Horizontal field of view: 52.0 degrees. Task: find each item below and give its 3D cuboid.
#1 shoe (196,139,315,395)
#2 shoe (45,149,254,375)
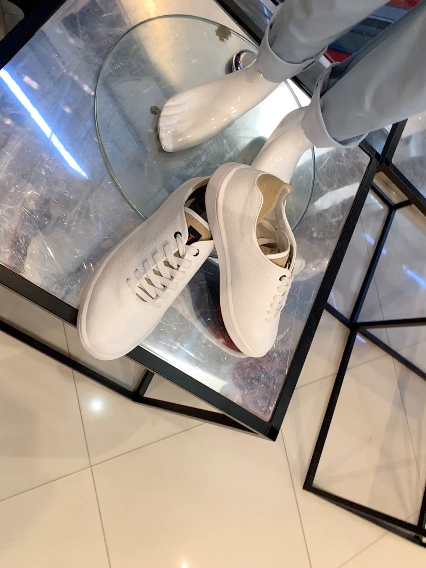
[{"bbox_3d":[0.064,-0.020,0.562,0.100,0.080,0.300,-33,121,-47],"label":"shoe"},{"bbox_3d":[-0.076,-0.032,0.580,0.100,0.100,0.291,43,64,-18],"label":"shoe"}]
